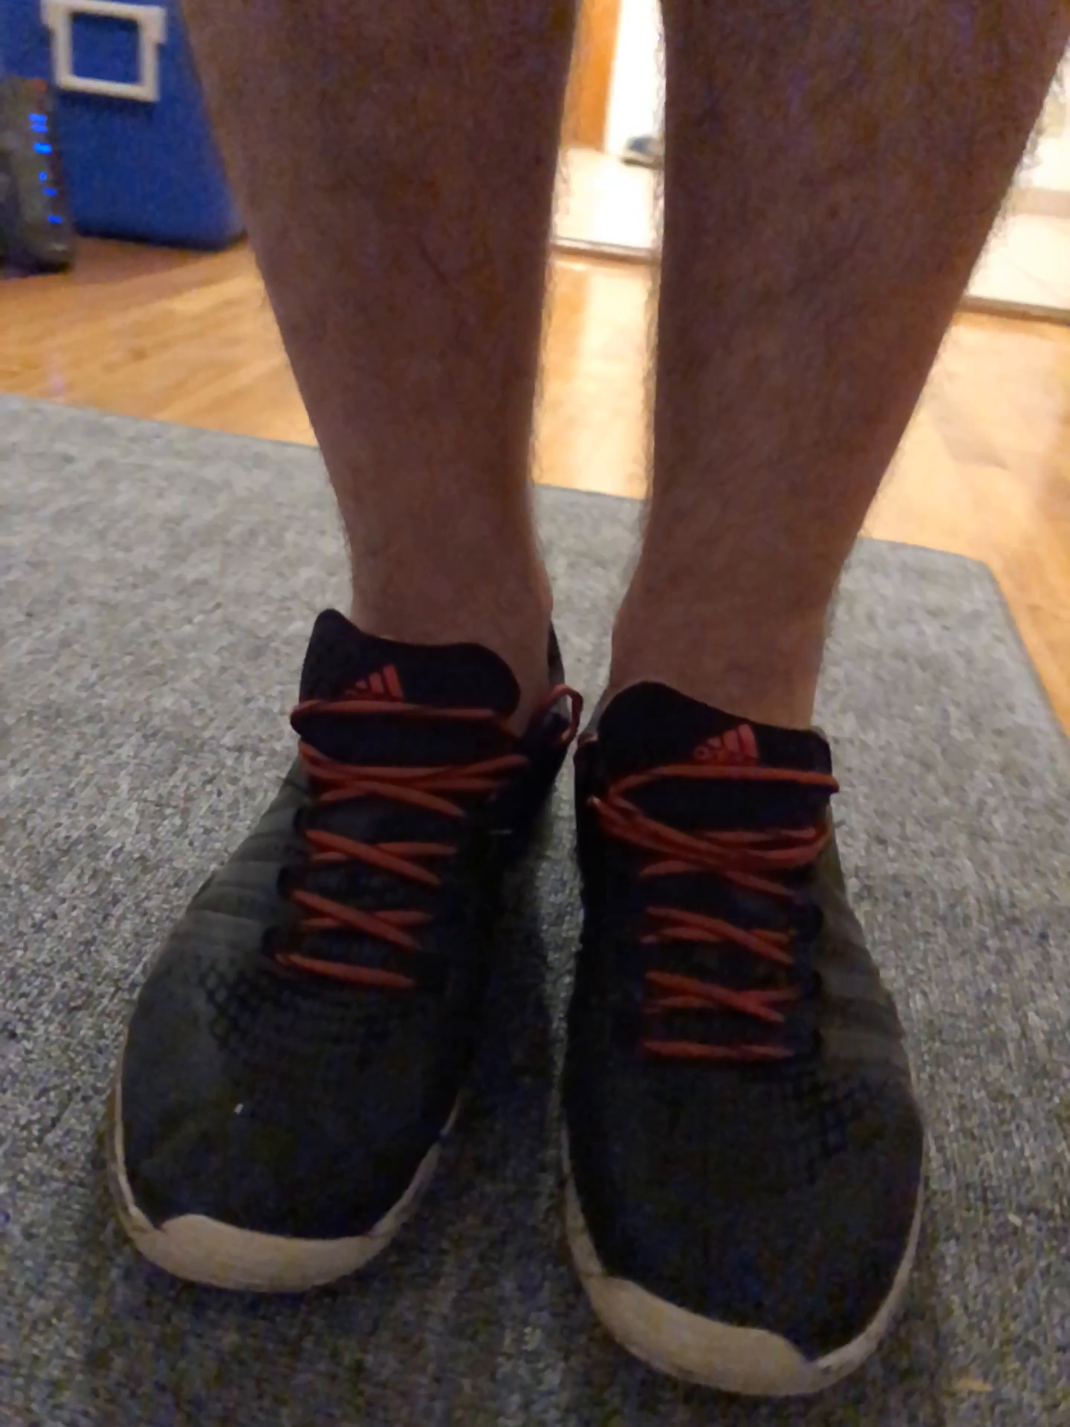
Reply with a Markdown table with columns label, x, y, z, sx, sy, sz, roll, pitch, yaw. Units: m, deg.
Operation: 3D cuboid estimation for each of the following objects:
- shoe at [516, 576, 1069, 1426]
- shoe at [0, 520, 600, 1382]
| label | x | y | z | sx | sy | sz | roll | pitch | yaw |
| --- | --- | --- | --- | --- | --- | --- | --- | --- | --- |
| shoe | 0.066 | 0.062 | 0.401 | 0.130 | 0.089 | 0.322 | 6 | 28 | -3 |
| shoe | -0.060 | 0.039 | 0.400 | 0.120 | 0.099 | 0.302 | 10 | 28 | 5 |
